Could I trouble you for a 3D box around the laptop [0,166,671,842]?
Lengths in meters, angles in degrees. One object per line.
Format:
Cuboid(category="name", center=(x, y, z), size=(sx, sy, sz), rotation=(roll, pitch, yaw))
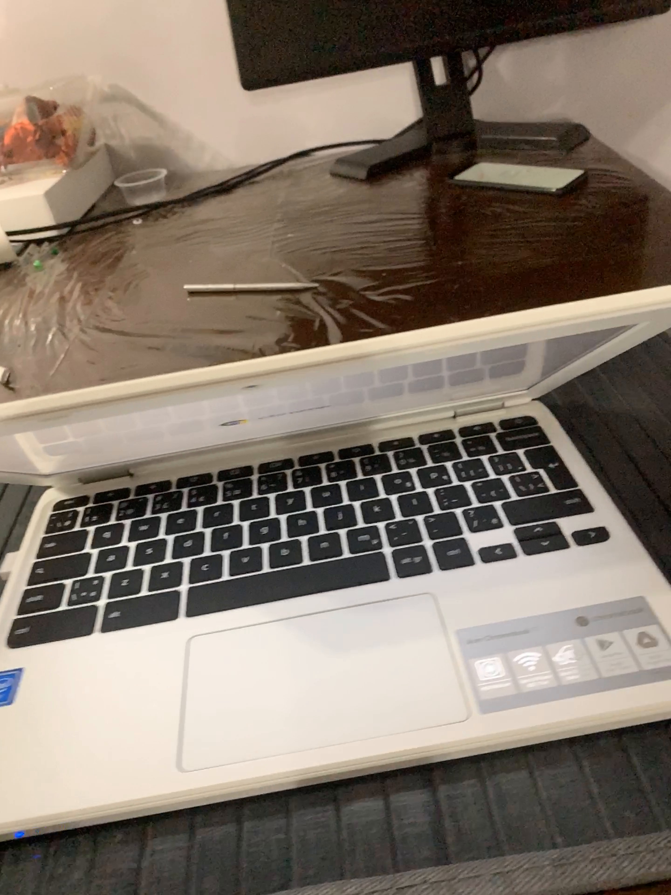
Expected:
Cuboid(category="laptop", center=(-0.021, 0.003, 0.265), size=(0.280, 0.124, 0.182), rotation=(-10, 35, 0))
